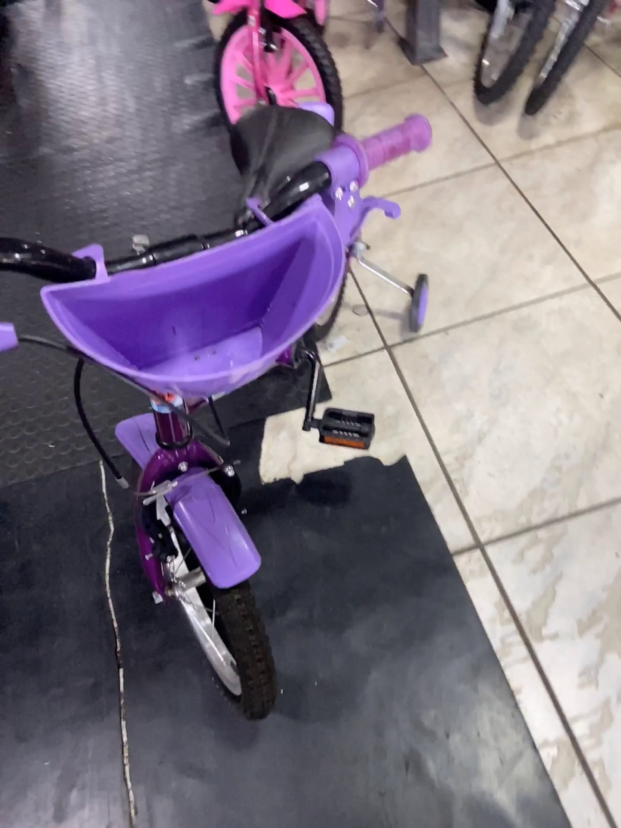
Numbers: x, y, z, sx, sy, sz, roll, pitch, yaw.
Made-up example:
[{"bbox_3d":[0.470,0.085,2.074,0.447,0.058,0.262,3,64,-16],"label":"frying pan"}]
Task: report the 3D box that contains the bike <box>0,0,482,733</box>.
[{"bbox_3d":[-0.044,-0.180,0.855,0.447,0.743,0.975,2,55,10],"label":"bike"}]
